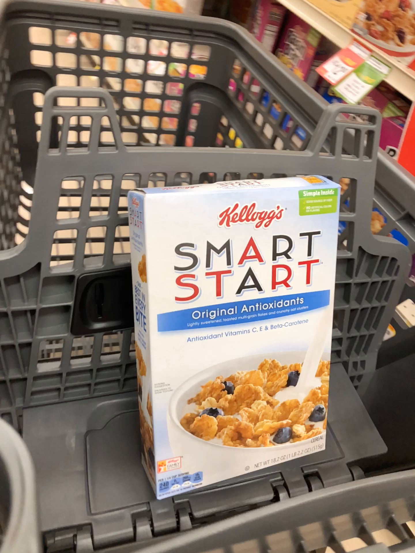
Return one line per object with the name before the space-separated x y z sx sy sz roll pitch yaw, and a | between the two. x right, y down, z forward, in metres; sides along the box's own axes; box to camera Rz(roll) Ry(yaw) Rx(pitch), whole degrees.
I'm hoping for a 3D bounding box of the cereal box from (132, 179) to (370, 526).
cereal box | 0.041 0.063 0.446 0.200 0.300 0.070 -7 17 -21
